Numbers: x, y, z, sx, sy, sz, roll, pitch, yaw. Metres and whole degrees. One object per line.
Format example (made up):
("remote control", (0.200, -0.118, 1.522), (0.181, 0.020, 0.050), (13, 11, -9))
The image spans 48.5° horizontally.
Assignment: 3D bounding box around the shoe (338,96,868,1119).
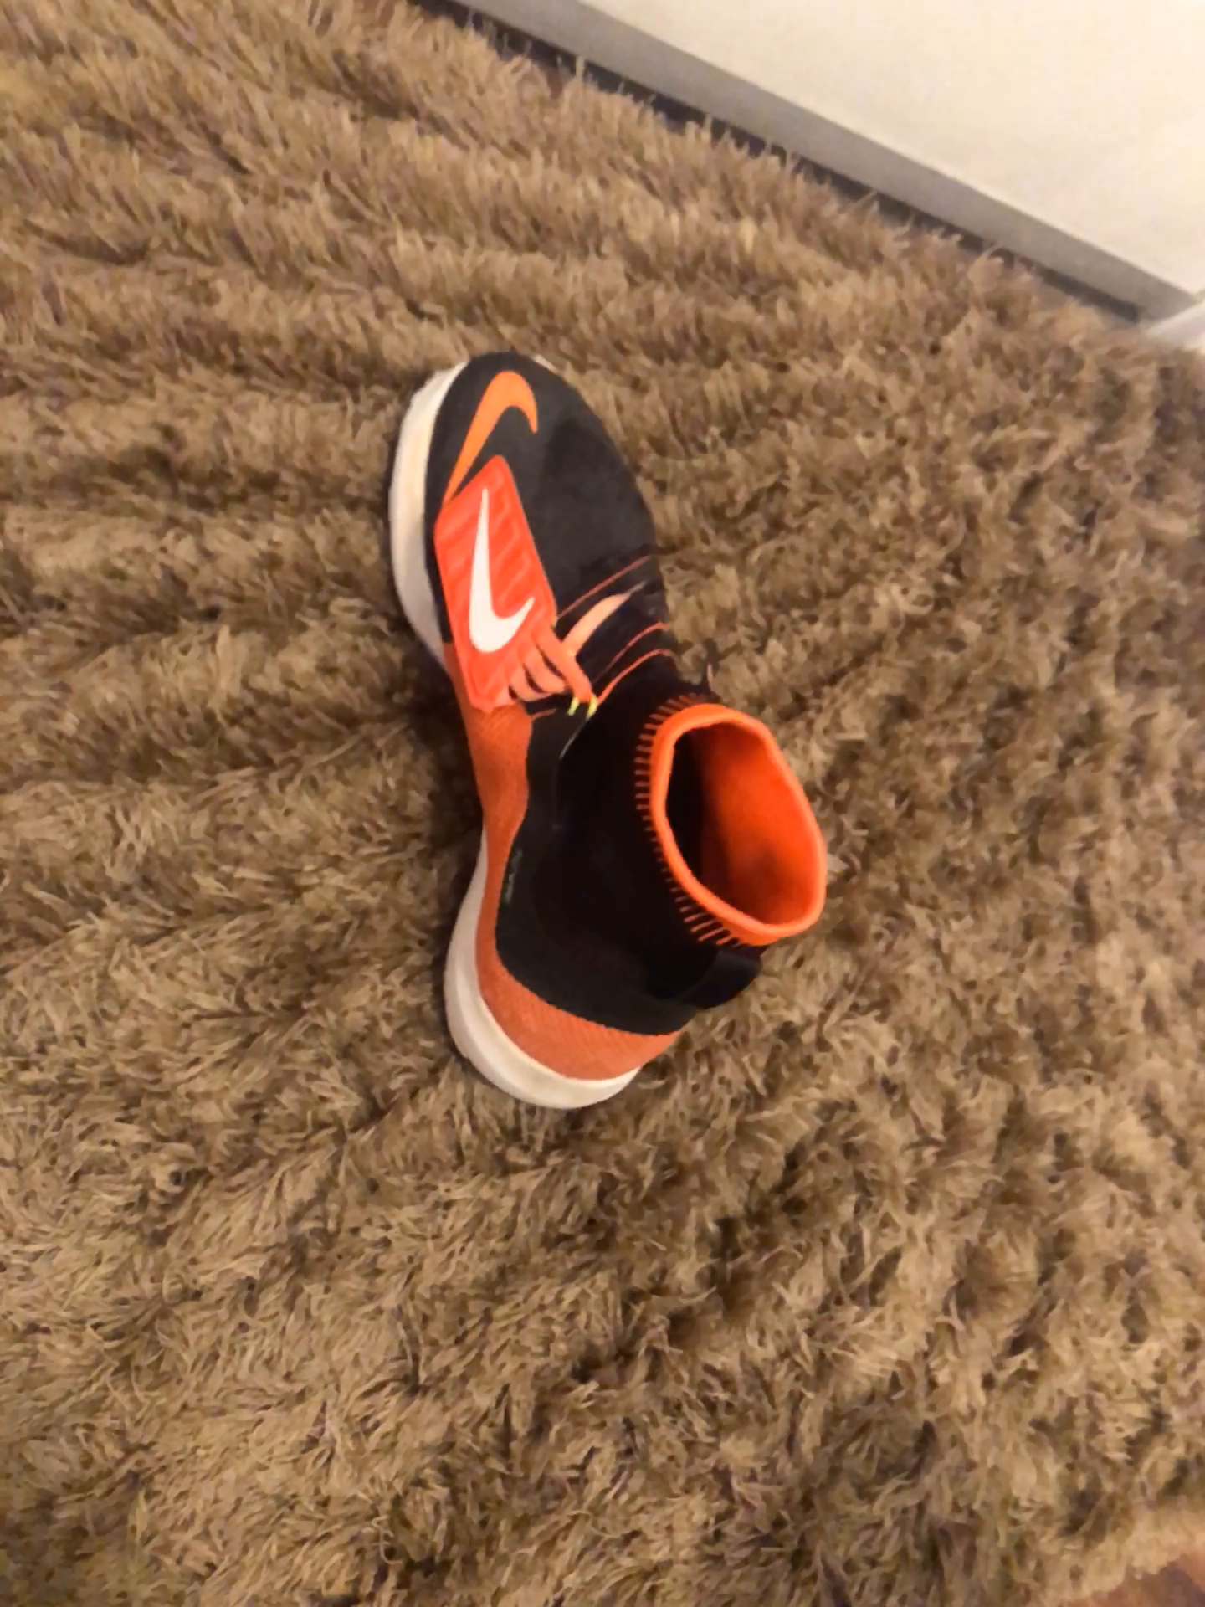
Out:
("shoe", (-0.008, -0.049, 0.461), (0.111, 0.139, 0.303), (8, 74, -33))
